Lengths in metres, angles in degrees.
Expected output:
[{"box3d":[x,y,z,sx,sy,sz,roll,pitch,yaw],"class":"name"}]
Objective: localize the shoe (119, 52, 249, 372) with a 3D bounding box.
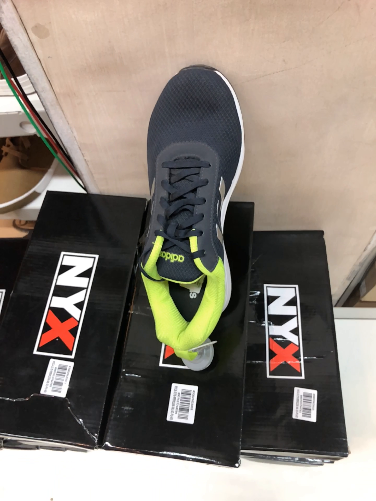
[{"box3d":[0.000,-0.035,0.413,0.104,0.098,0.271,3,98,12],"class":"shoe"}]
